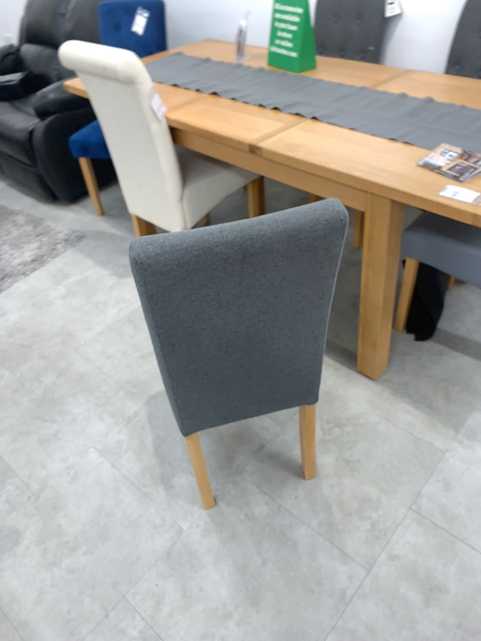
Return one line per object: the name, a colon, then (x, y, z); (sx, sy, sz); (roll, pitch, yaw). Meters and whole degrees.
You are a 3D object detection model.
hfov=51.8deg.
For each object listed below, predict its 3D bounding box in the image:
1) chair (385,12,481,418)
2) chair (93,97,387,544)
chair: (0.880, -0.316, 1.452); (0.625, 0.899, 0.506); (29, 52, 35)
chair: (-0.028, -0.002, 1.248); (0.444, 0.830, 0.648); (-13, 41, -7)
